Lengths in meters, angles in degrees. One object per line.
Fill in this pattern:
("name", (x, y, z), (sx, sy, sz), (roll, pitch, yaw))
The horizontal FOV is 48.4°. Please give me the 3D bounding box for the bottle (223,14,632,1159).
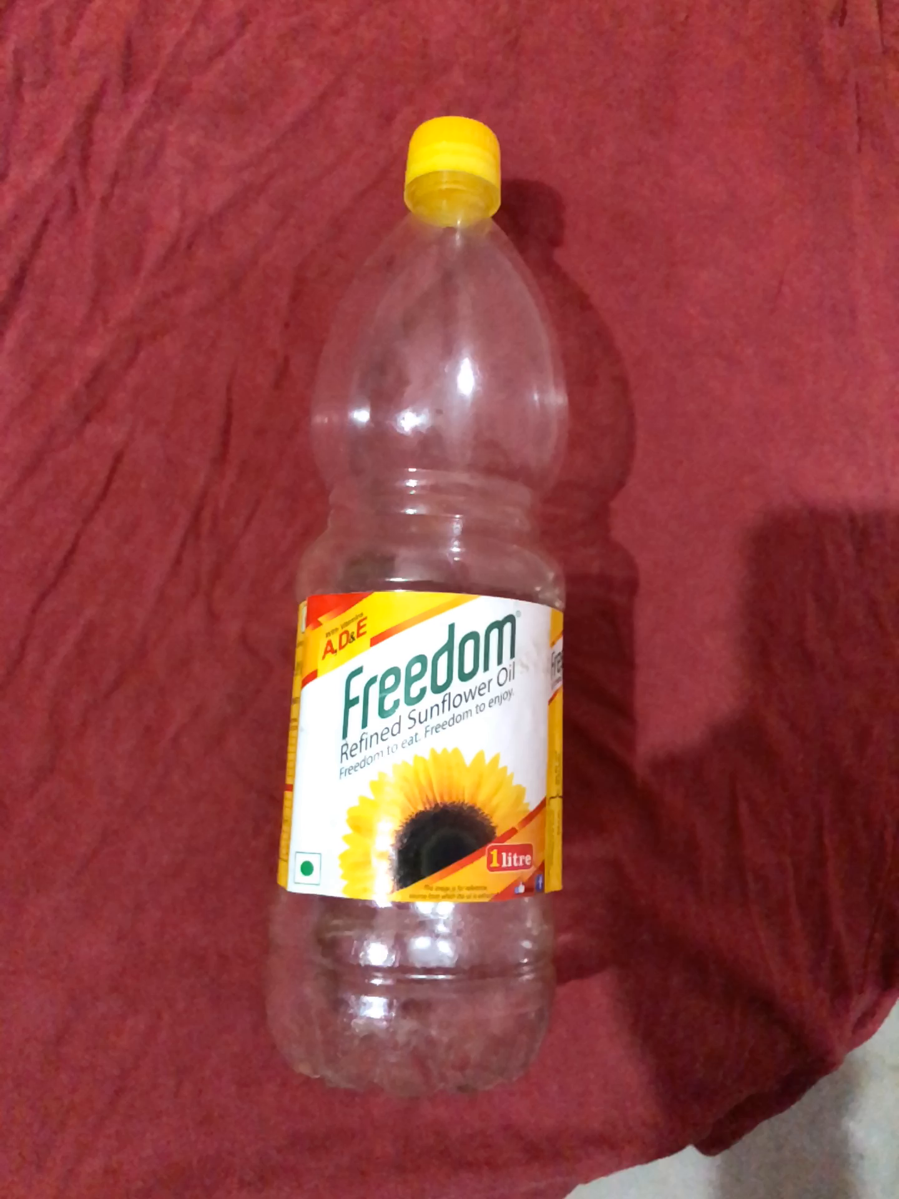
("bottle", (-0.006, -0.006, 0.276), (0.080, 0.060, 0.270), (6, 83, -21))
